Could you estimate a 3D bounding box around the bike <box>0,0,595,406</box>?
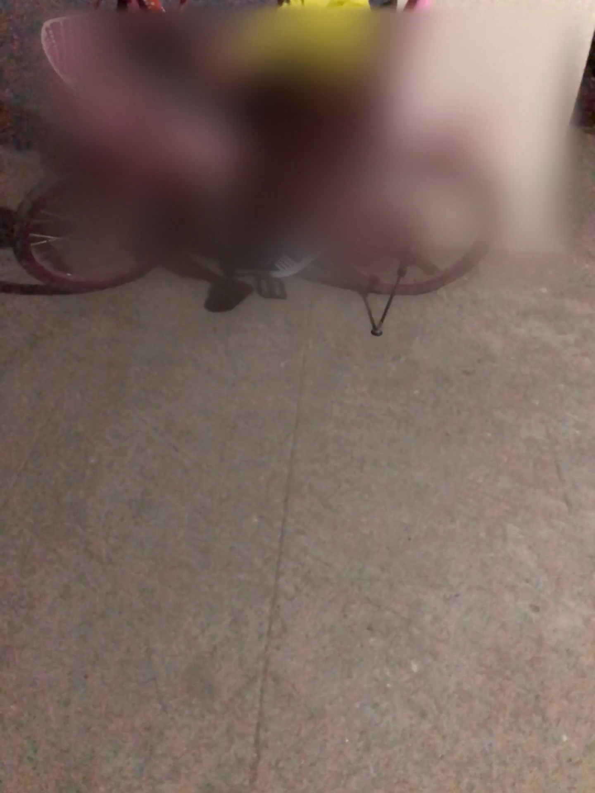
[{"bbox_3d":[-0.098,-0.493,1.491,1.277,0.909,0.497,-1,42,-4],"label":"bike"}]
